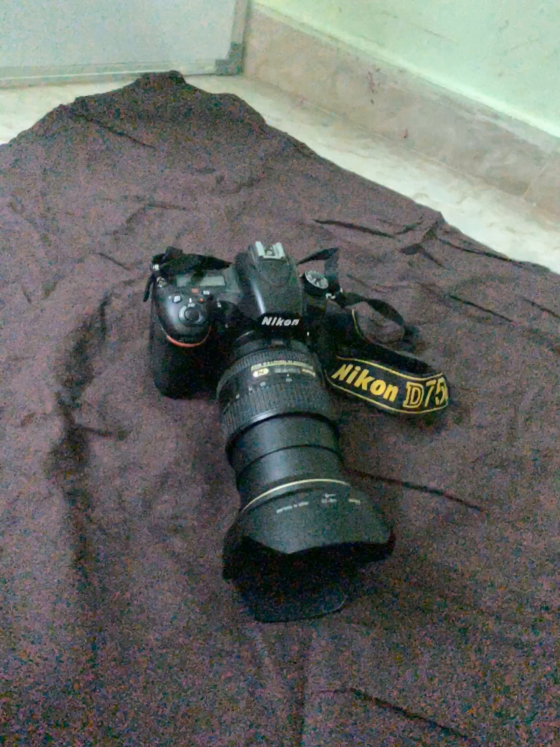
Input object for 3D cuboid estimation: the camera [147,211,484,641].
[{"bbox_3d":[-0.003,0.019,0.410,0.161,0.100,0.279,1,50,-18],"label":"camera"}]
